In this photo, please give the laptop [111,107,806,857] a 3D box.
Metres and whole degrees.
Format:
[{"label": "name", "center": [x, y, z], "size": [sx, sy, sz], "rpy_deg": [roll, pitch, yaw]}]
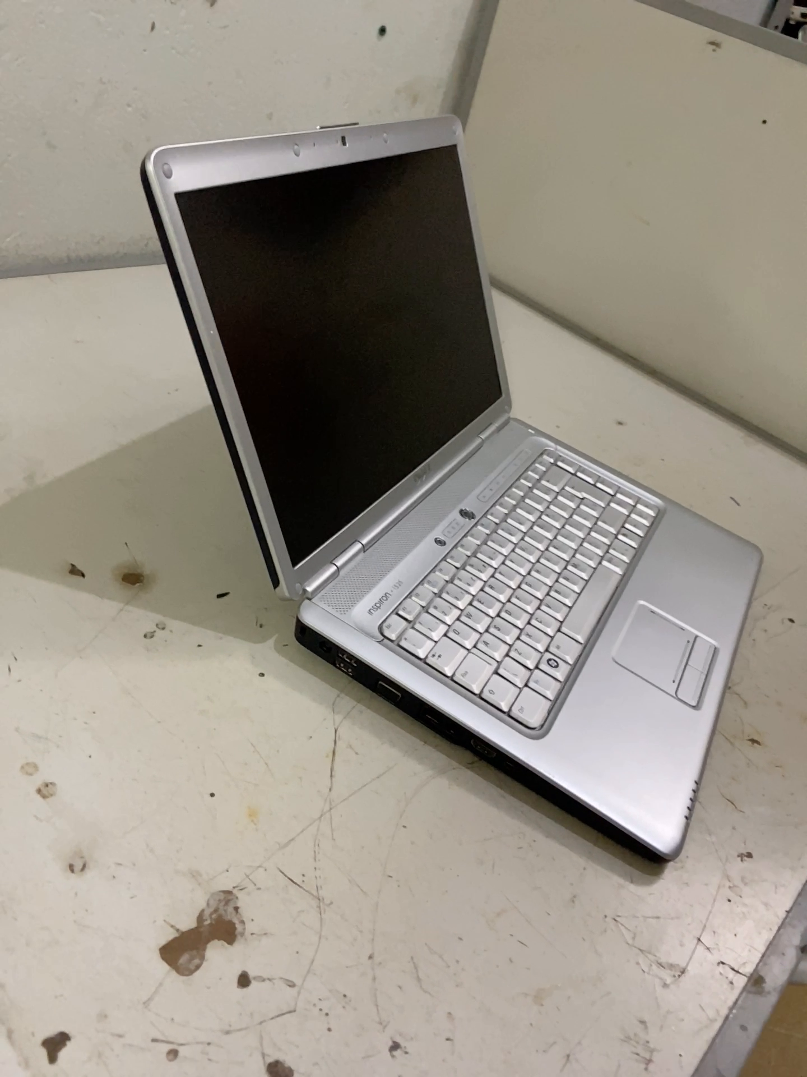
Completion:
[{"label": "laptop", "center": [0.086, -0.090, 0.540], "size": [0.377, 0.208, 0.351], "rpy_deg": [30, 37, 13]}]
